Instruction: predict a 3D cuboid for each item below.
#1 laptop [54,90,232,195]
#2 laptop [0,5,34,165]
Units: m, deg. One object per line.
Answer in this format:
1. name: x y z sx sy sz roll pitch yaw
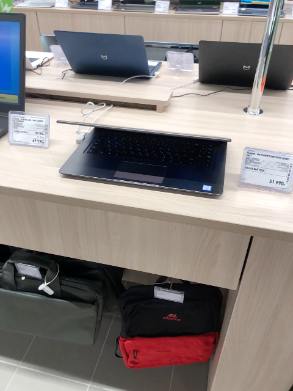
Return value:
1. laptop: 0.006 -0.134 0.733 0.344 0.099 0.222 9 39 11
2. laptop: -0.554 -0.306 0.815 0.348 0.230 0.379 9 39 9
